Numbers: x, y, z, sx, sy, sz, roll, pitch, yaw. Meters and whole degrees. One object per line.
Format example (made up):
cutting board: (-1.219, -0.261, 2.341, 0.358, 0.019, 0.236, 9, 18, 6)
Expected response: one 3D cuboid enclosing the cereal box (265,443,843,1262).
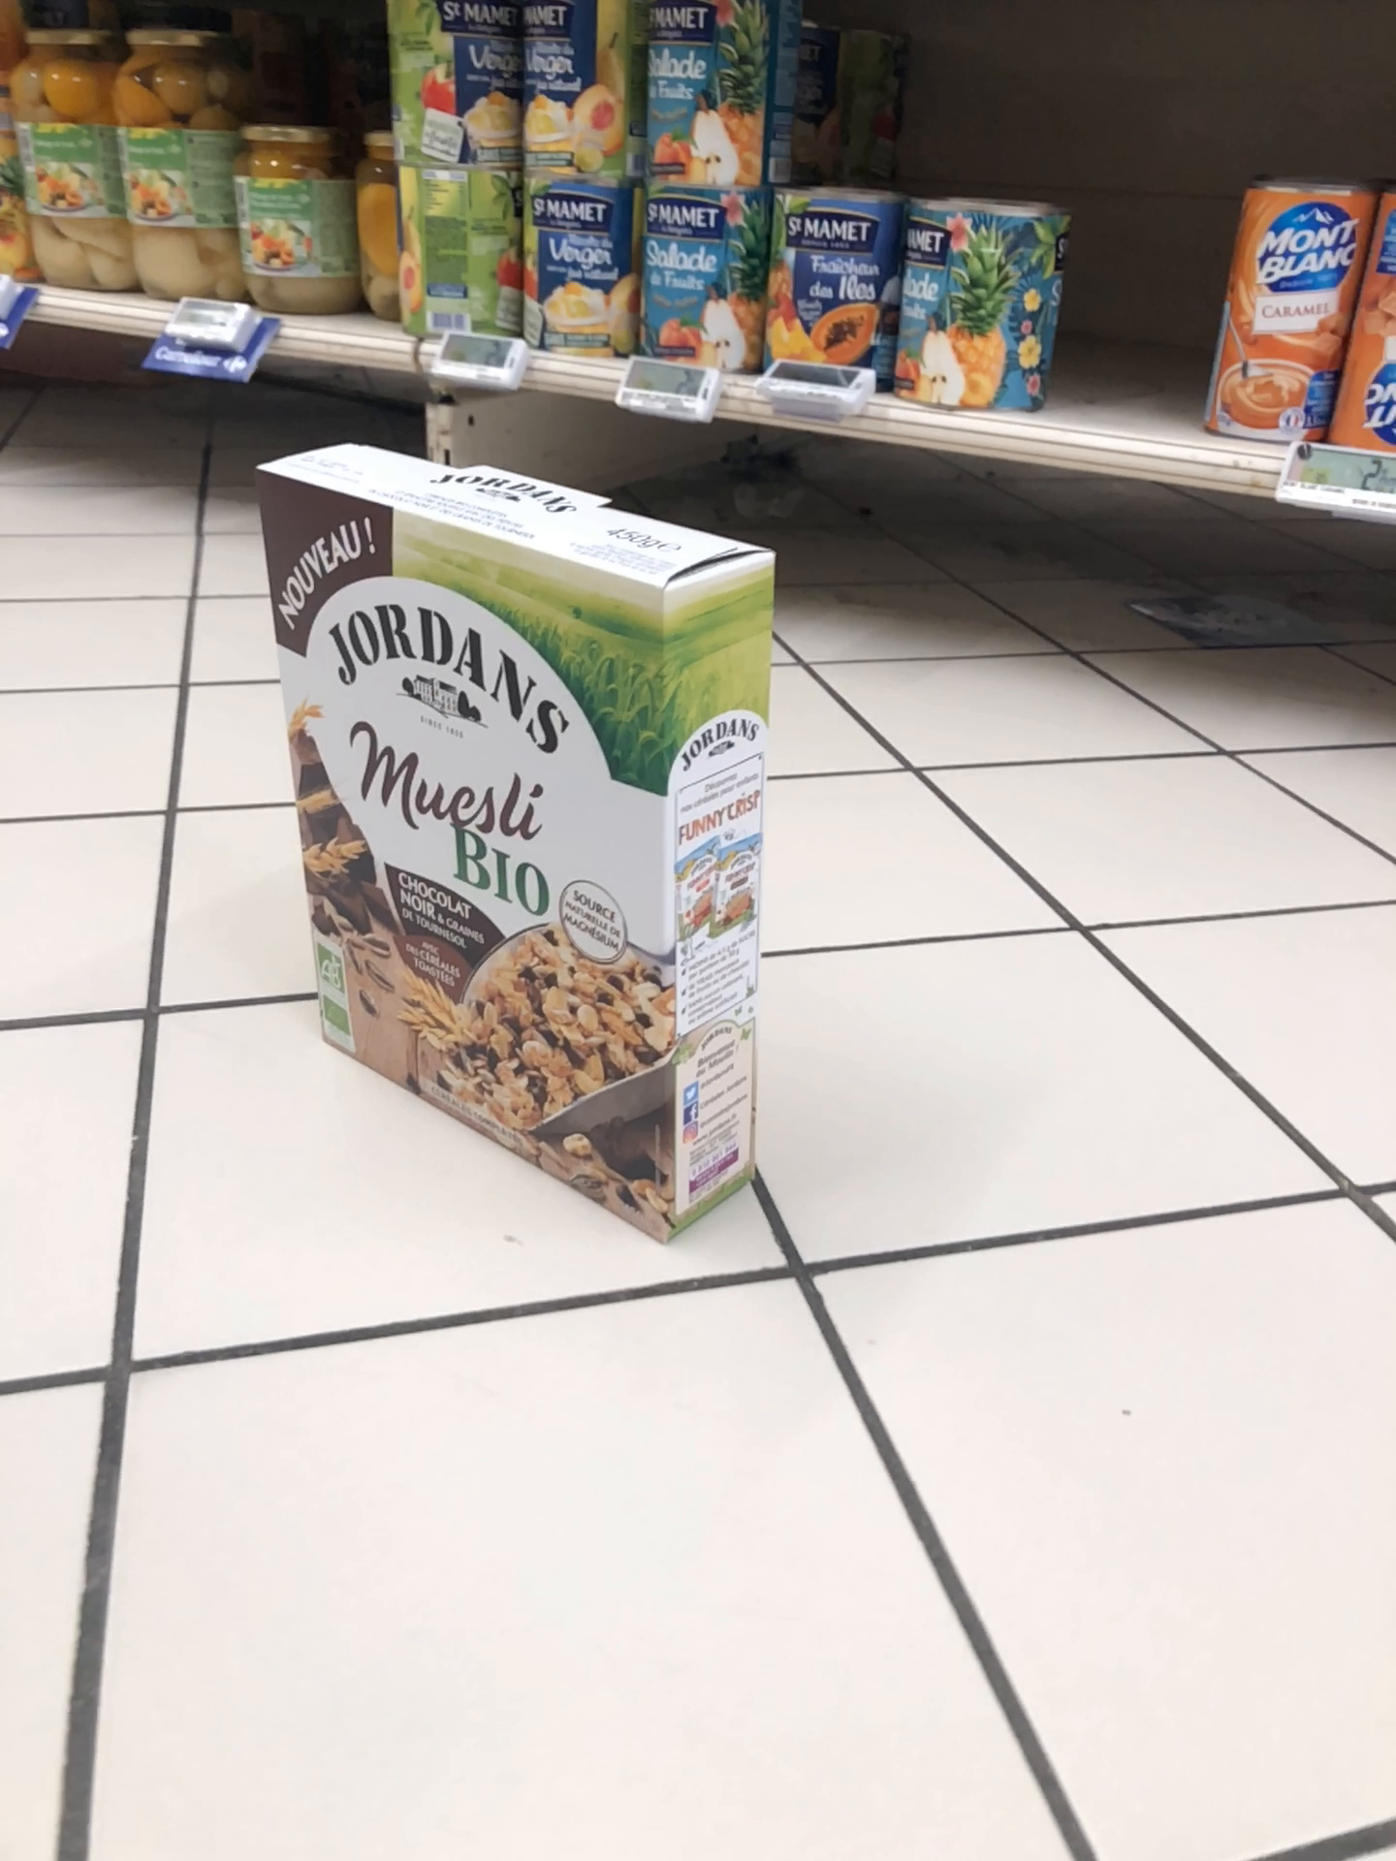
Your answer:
cereal box: (-0.053, -0.032, 0.493, 0.190, 0.209, 0.050, 24, 34, 35)
